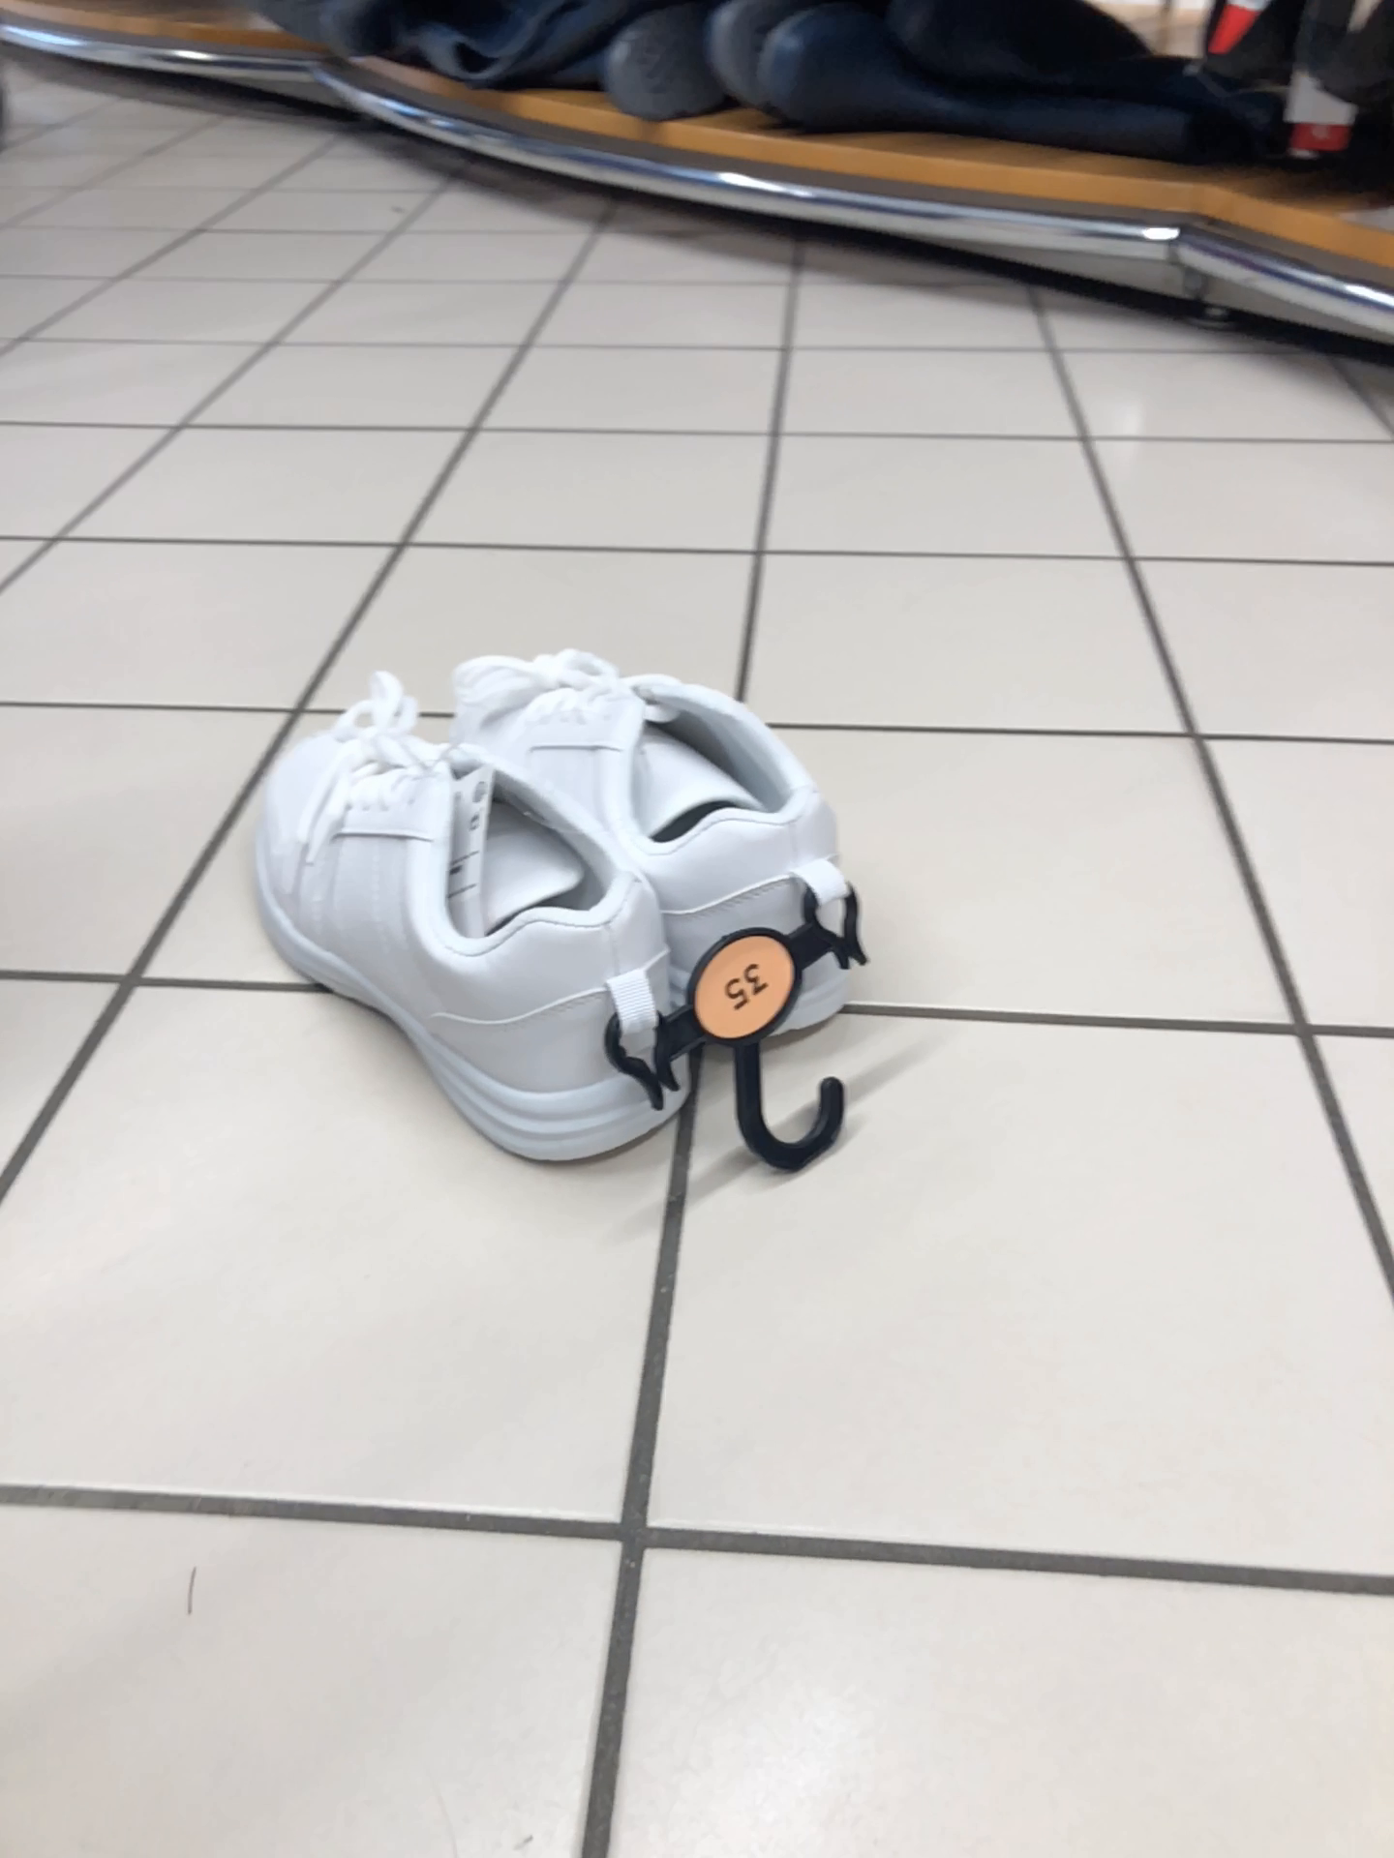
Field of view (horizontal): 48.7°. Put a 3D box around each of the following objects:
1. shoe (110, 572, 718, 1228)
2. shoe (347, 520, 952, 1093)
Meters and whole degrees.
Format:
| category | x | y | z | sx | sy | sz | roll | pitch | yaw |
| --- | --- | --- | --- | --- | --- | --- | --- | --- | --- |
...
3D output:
| category | x | y | z | sx | sy | sz | roll | pitch | yaw |
| --- | --- | --- | --- | --- | --- | --- | --- | --- | --- |
| shoe | -0.099 | -0.026 | 0.504 | 0.090 | 0.089 | 0.241 | -22 | 41 | -27 |
| shoe | -0.027 | -0.058 | 0.551 | 0.090 | 0.089 | 0.241 | -22 | 41 | -27 |
